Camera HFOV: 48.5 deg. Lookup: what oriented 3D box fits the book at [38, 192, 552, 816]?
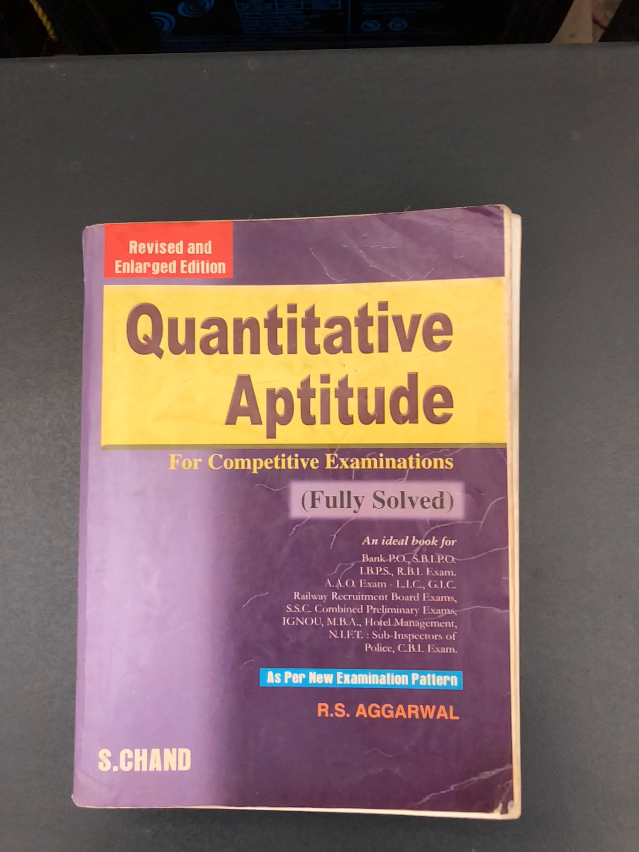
[{"bbox_3d":[-0.008,0.026,0.280,0.180,0.050,0.220,0,86,2],"label":"book"}]
